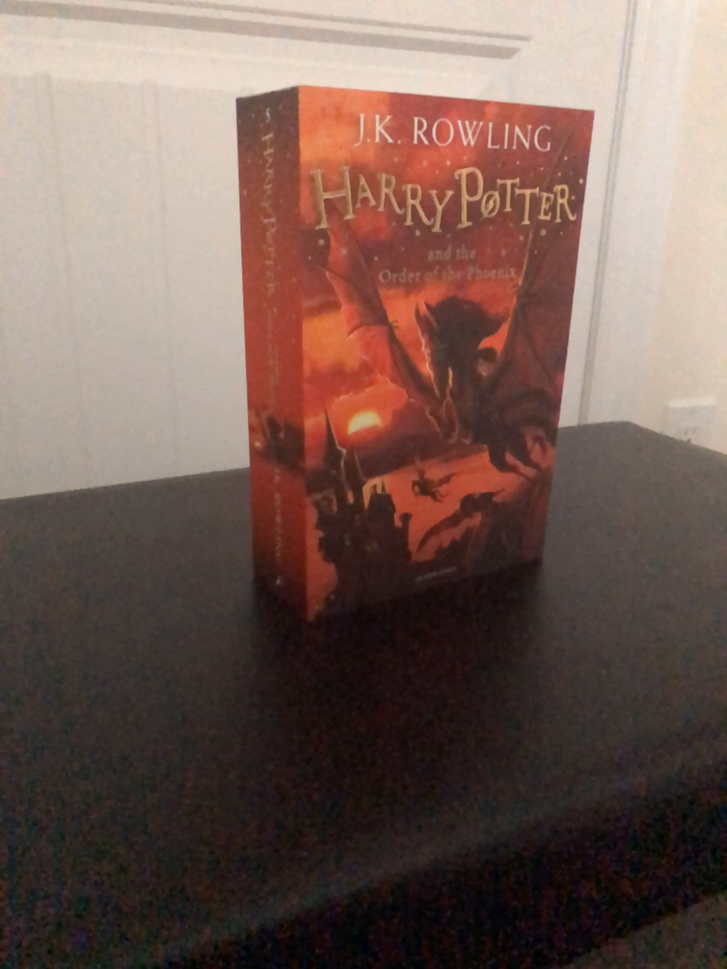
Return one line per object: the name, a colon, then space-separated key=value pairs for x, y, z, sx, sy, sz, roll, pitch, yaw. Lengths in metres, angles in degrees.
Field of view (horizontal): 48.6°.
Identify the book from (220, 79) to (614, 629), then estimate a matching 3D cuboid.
book: x=0.021 y=-0.055 z=0.337 sx=0.141 sy=0.189 sz=0.061 roll=-11 pitch=23 yaw=-32
